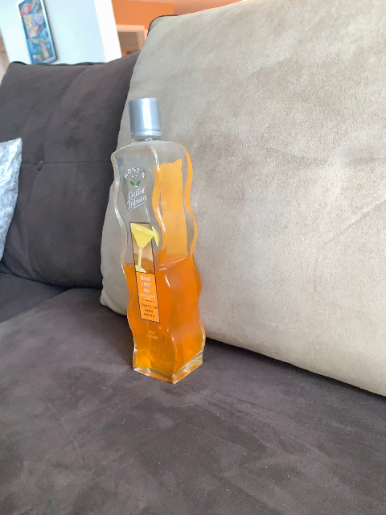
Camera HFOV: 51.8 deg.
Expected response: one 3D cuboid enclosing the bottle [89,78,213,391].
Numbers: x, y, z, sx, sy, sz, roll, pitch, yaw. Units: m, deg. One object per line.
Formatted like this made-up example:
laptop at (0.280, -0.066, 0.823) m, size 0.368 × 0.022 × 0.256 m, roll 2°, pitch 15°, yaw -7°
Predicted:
bottle at (-0.040, -0.022, 0.432) m, size 0.080 × 0.299 × 0.080 m, roll -3°, pitch 11°, yaw 1°
